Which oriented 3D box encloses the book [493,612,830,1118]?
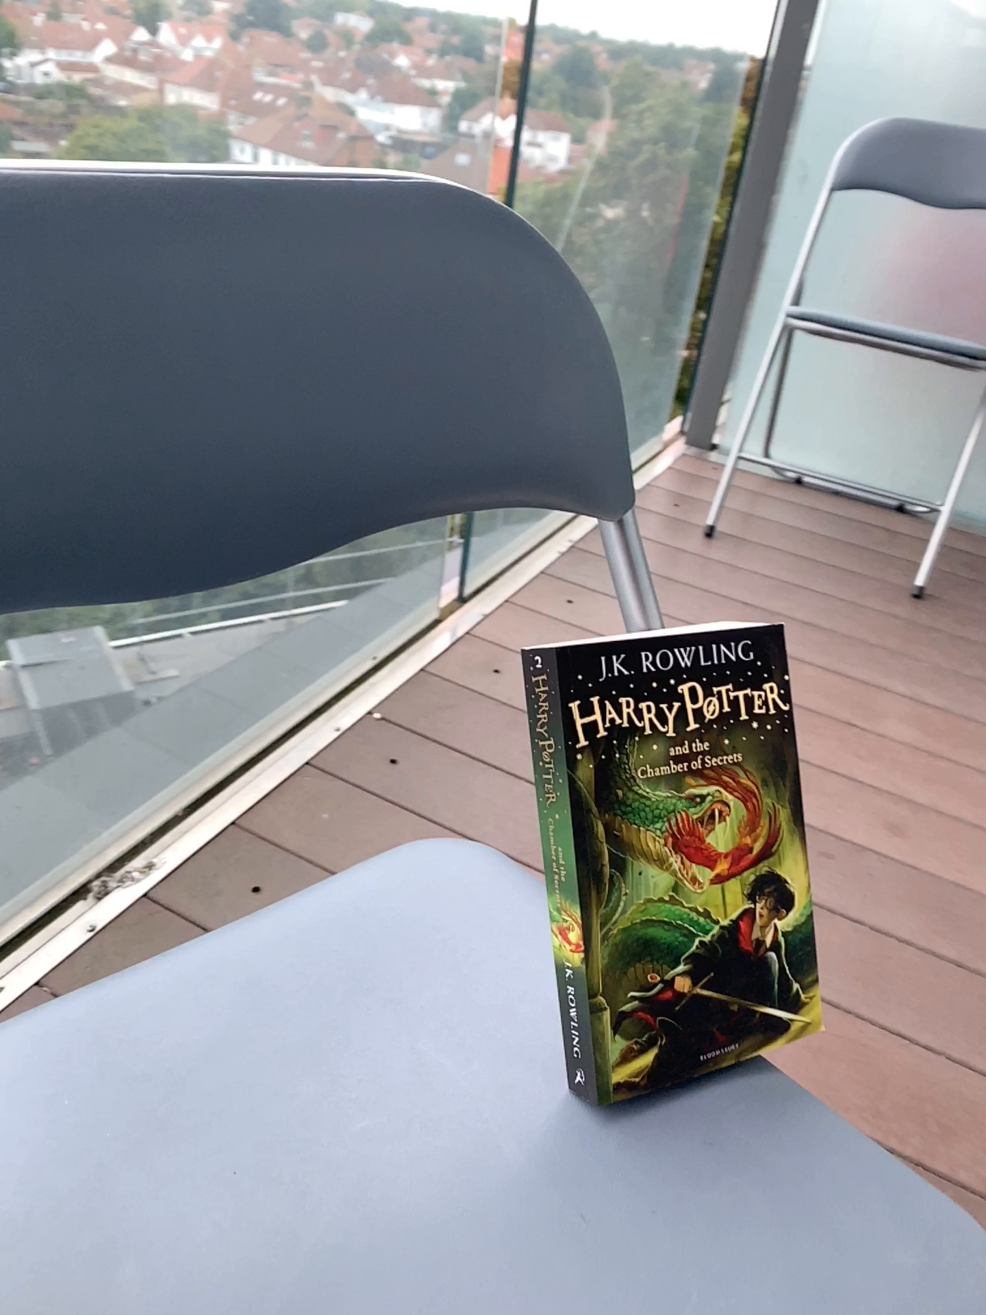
[{"bbox_3d":[0.081,0.086,0.469,0.140,0.200,0.040,-8,5,-25],"label":"book"}]
